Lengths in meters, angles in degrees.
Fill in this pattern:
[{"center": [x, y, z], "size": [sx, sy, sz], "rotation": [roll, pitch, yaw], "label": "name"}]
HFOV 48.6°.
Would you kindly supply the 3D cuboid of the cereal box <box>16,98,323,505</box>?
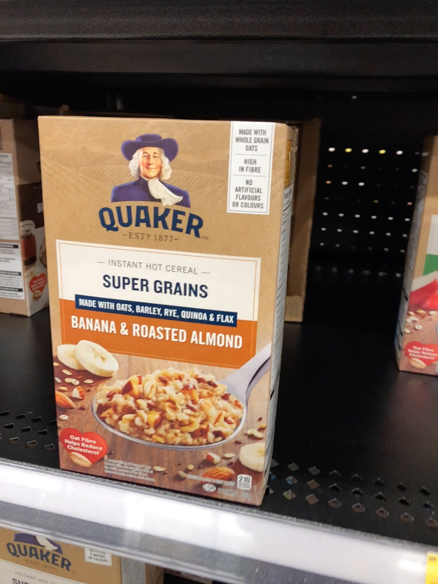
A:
[{"center": [-0.020, 0.000, 0.260], "size": [0.130, 0.189, 0.070], "rotation": [5, 19, 11], "label": "cereal box"}]
